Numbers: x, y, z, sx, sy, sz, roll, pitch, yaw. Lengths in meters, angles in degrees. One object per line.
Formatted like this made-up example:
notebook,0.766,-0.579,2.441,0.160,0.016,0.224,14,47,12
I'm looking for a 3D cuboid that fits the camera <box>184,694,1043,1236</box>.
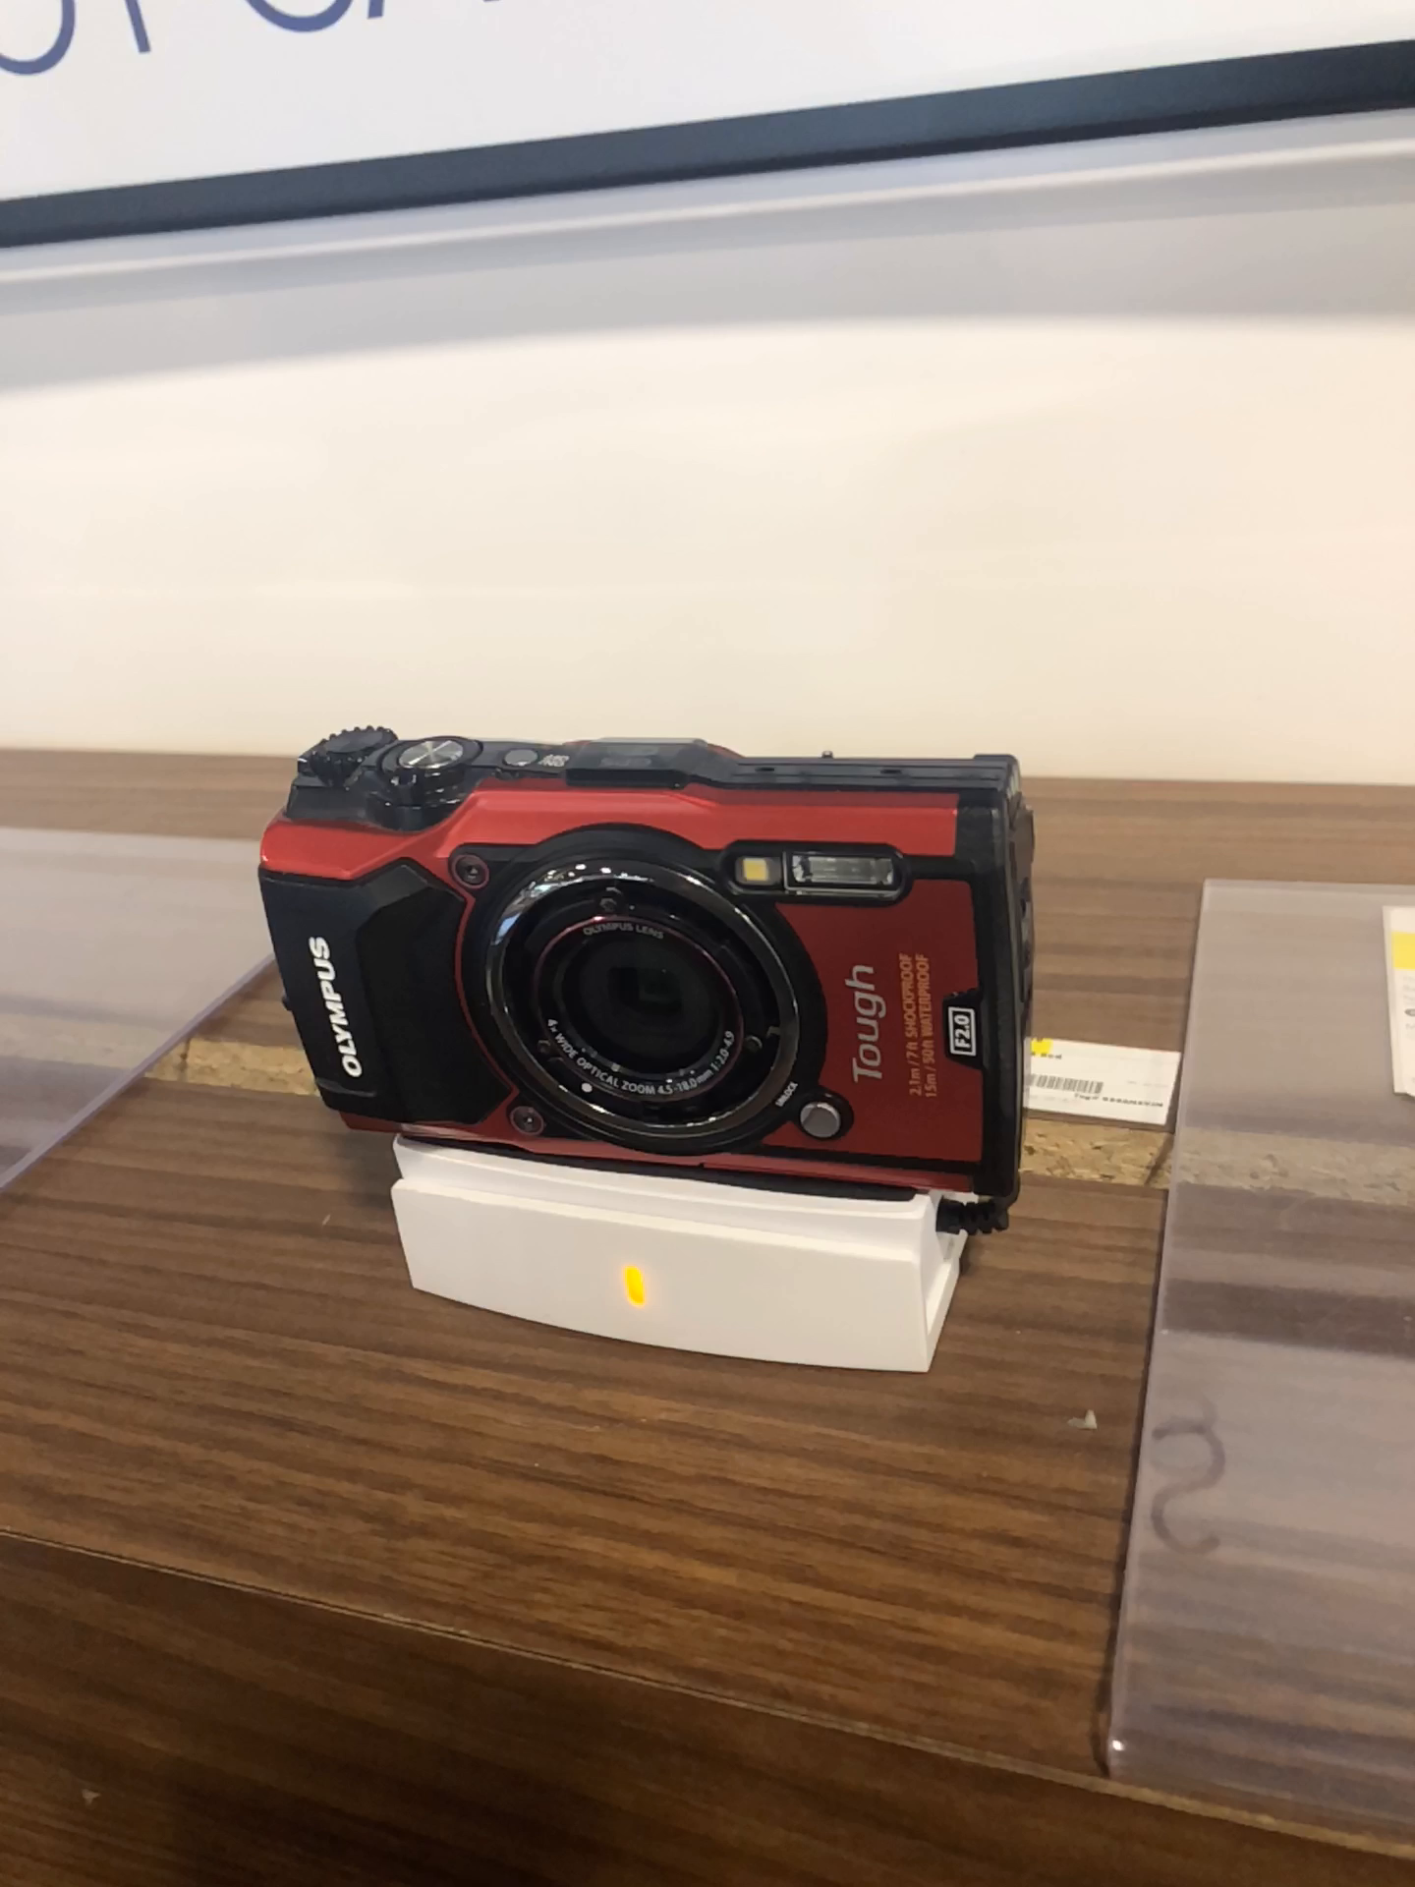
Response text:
camera,-0.012,0.000,0.231,0.117,0.064,0.030,4,28,20
